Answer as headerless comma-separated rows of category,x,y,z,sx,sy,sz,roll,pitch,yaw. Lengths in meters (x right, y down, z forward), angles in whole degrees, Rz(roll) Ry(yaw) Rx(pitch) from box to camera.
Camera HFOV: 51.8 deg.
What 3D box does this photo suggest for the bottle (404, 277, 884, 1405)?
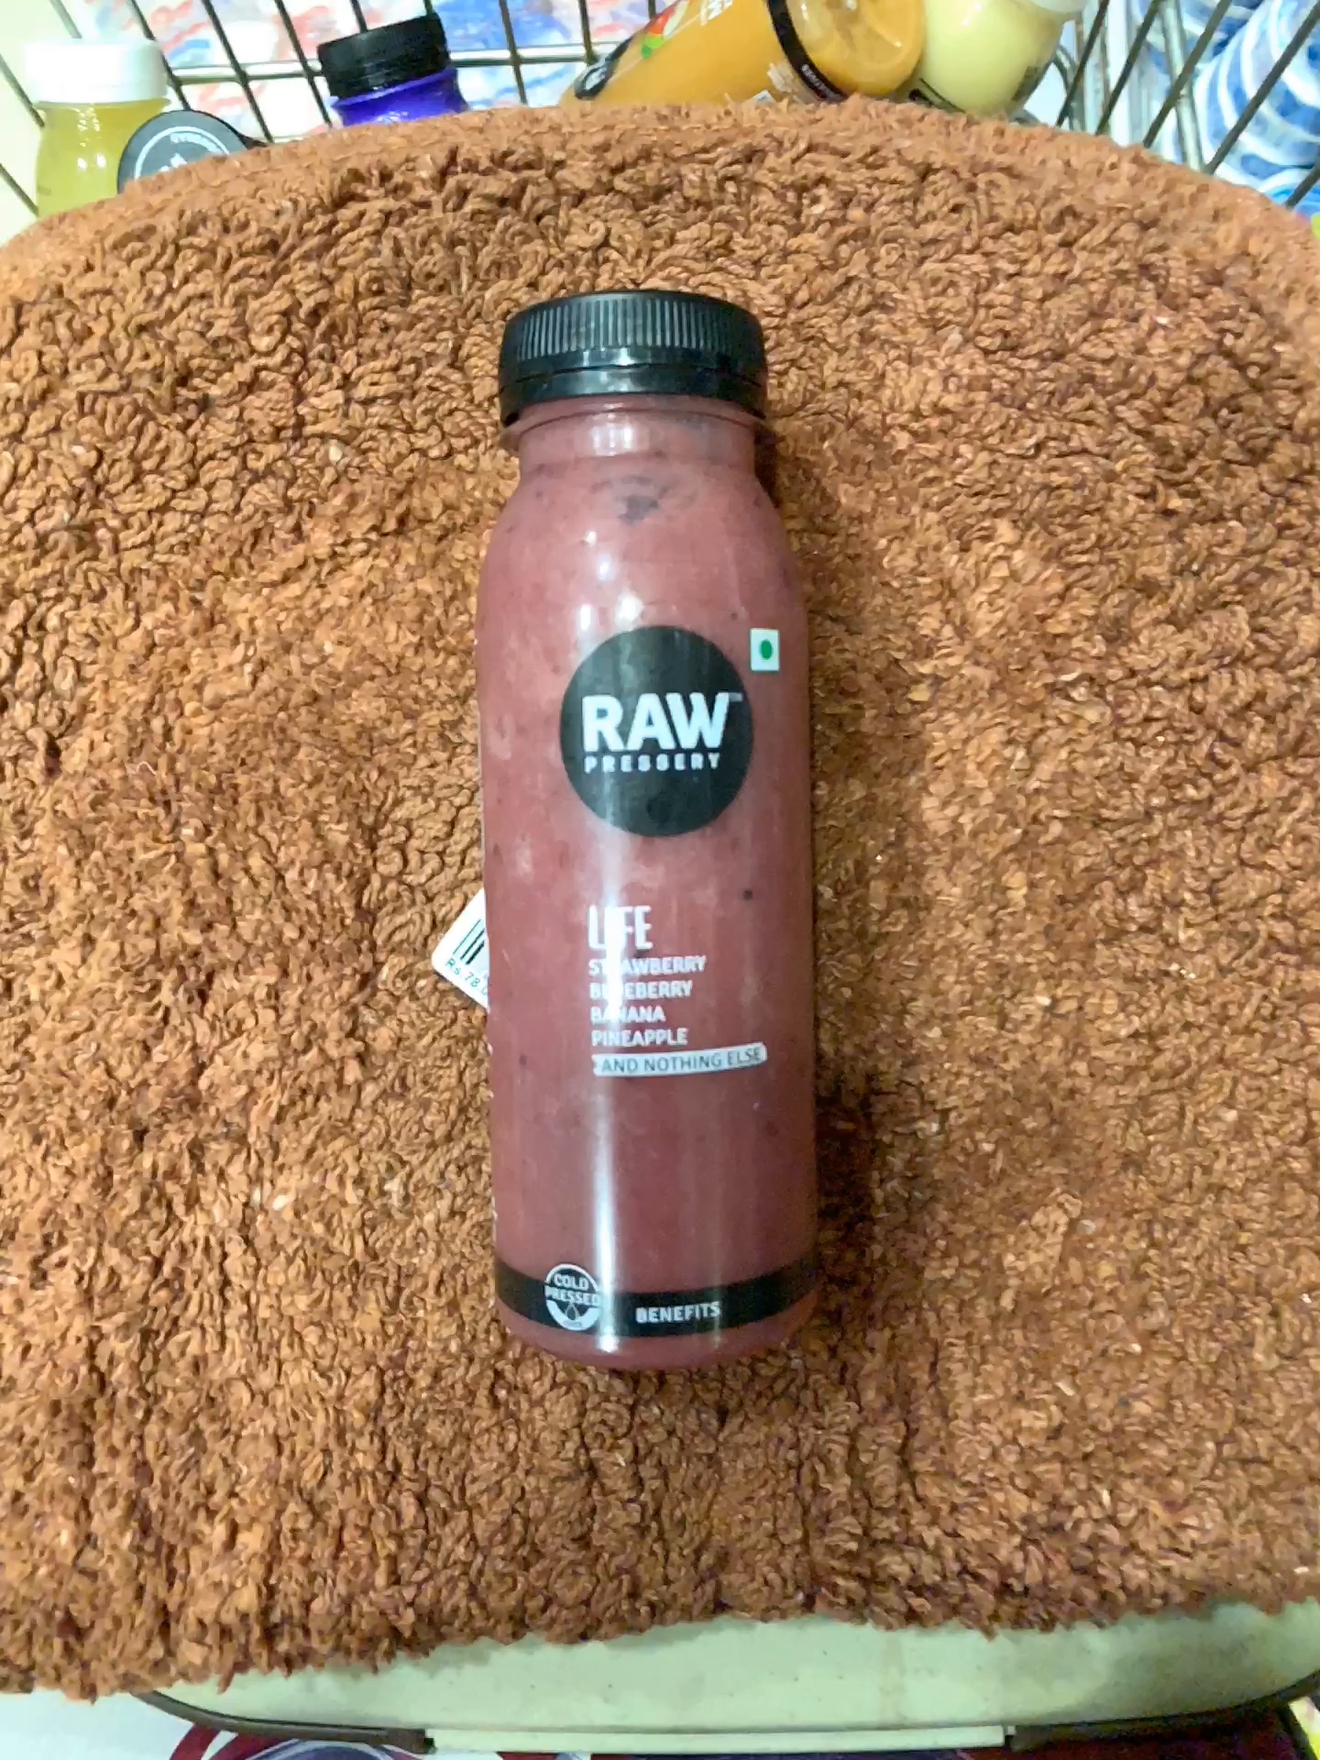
bottle,-0.004,-0.006,0.209,0.060,0.050,0.150,-2,93,-6
